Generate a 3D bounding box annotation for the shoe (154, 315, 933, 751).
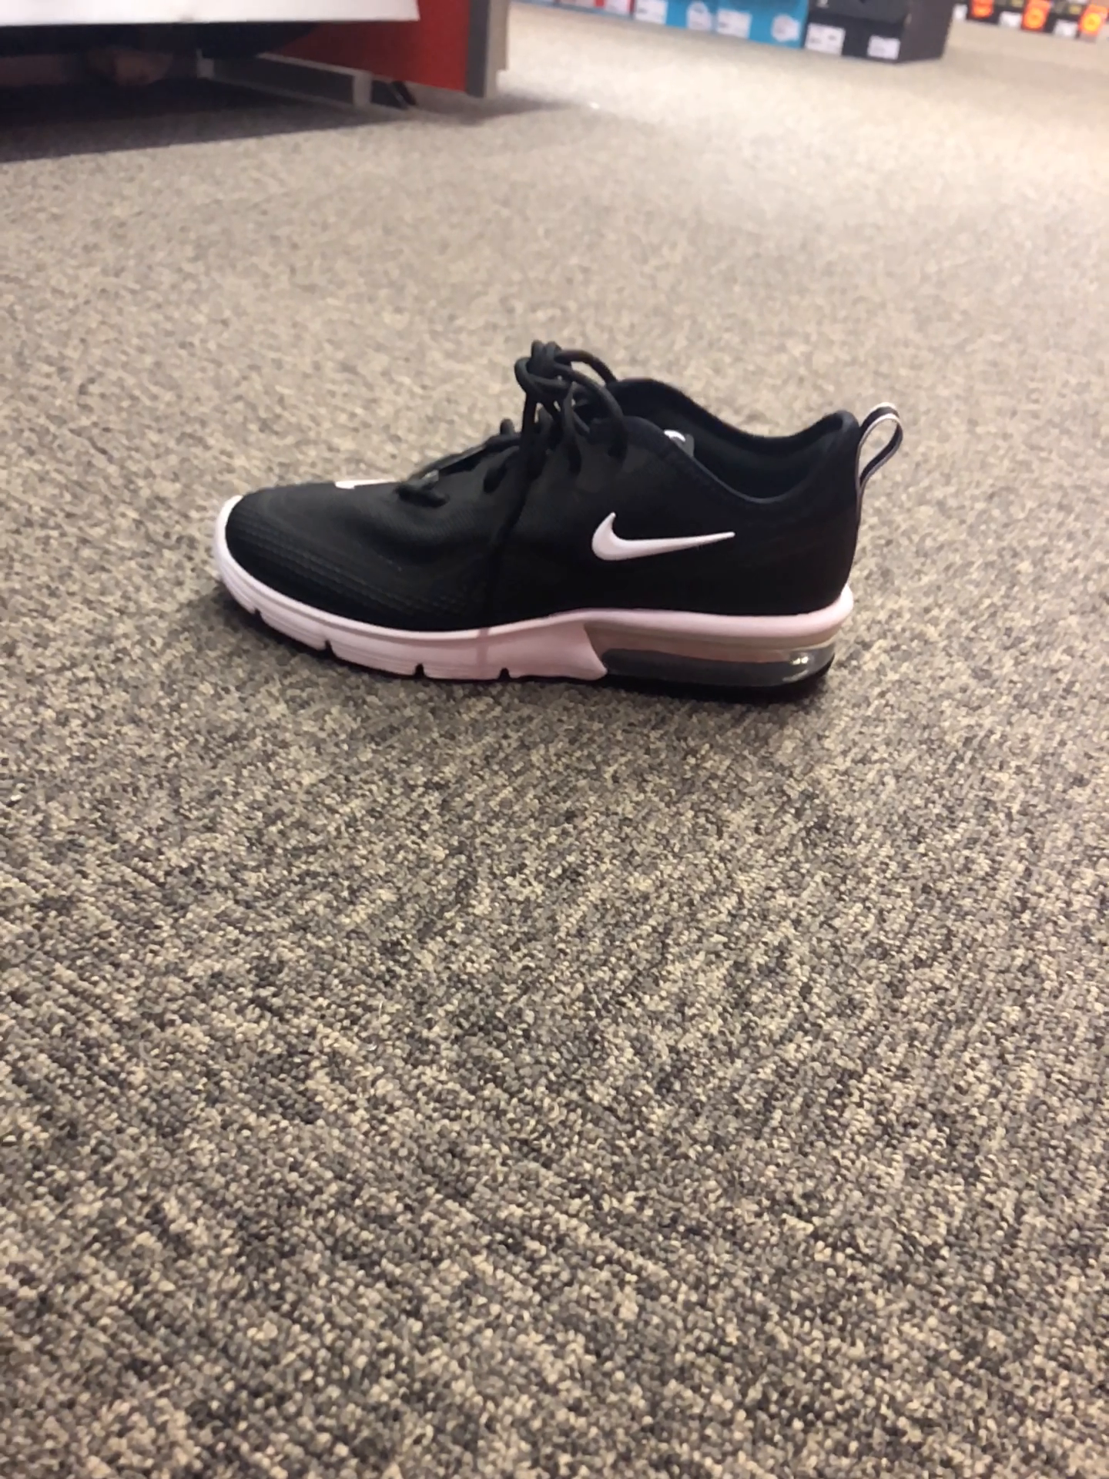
[{"bbox_3d":[-0.003,-0.083,0.471,0.256,0.109,0.101,6,34,4],"label":"shoe"}]
